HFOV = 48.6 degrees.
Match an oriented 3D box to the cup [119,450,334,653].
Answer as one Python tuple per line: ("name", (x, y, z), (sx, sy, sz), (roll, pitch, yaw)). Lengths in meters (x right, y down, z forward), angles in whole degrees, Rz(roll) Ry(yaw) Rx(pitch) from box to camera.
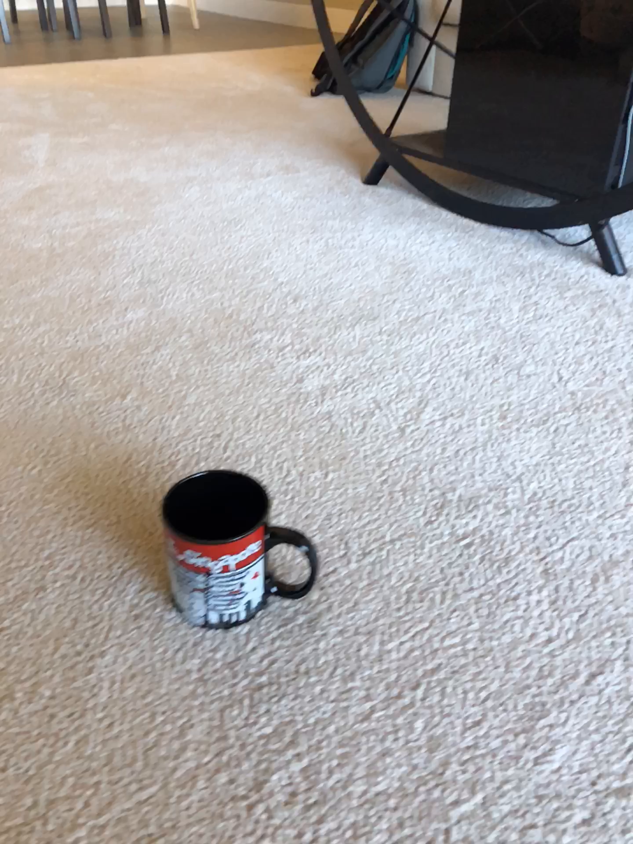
("cup", (-0.063, 0.095, 0.533), (0.130, 0.090, 0.090), (10, 35, 13))
